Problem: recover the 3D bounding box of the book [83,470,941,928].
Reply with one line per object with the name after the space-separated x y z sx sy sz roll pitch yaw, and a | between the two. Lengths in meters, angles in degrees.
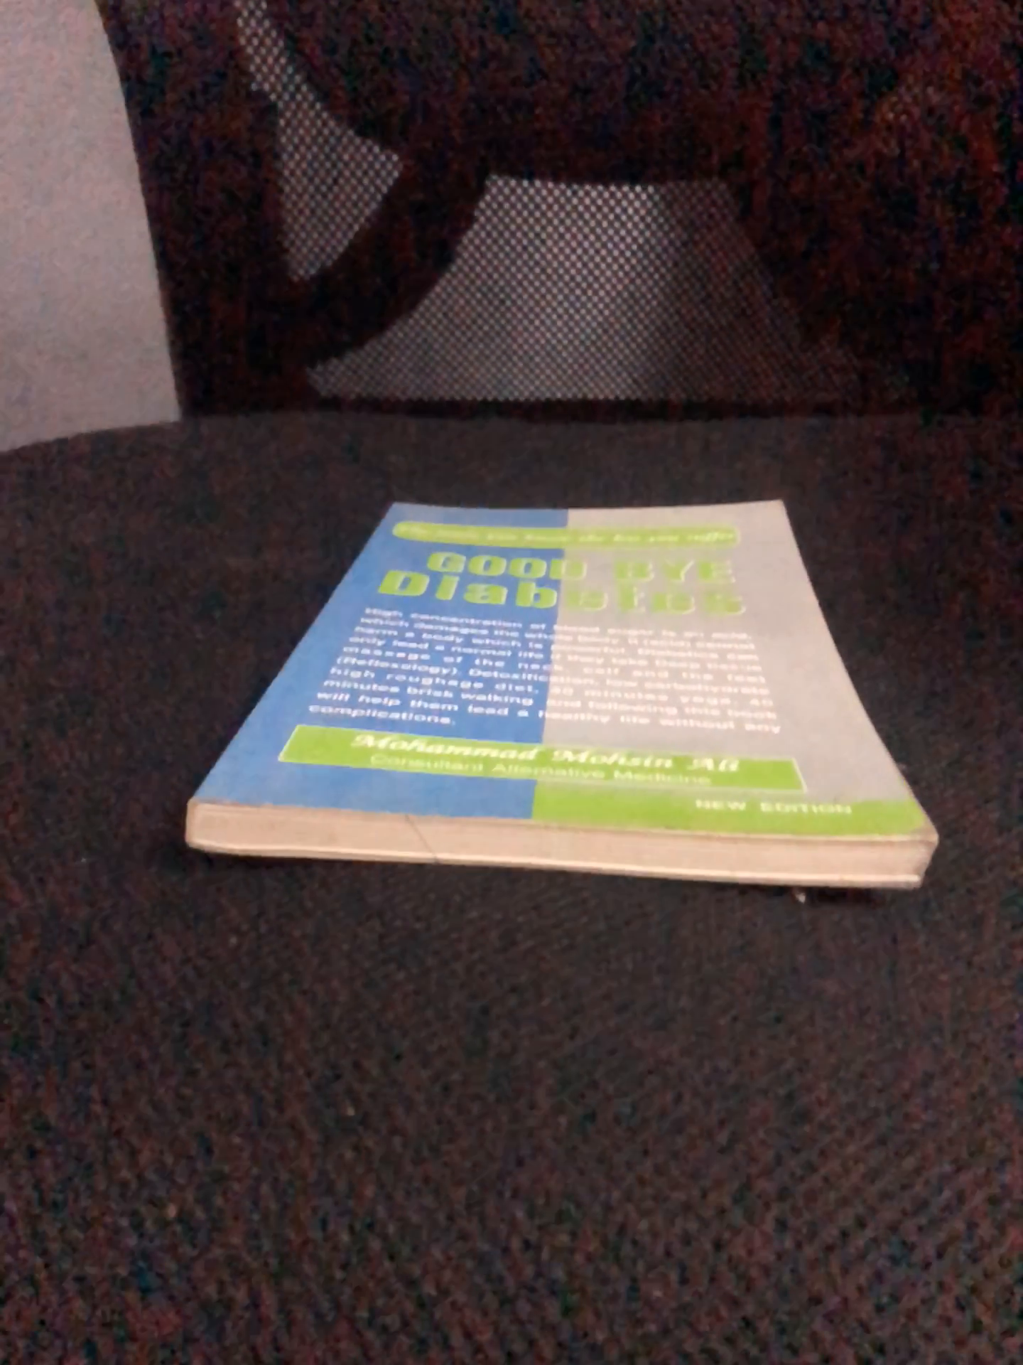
0.008 -0.017 0.307 0.150 0.020 0.231 2 25 4 | book
